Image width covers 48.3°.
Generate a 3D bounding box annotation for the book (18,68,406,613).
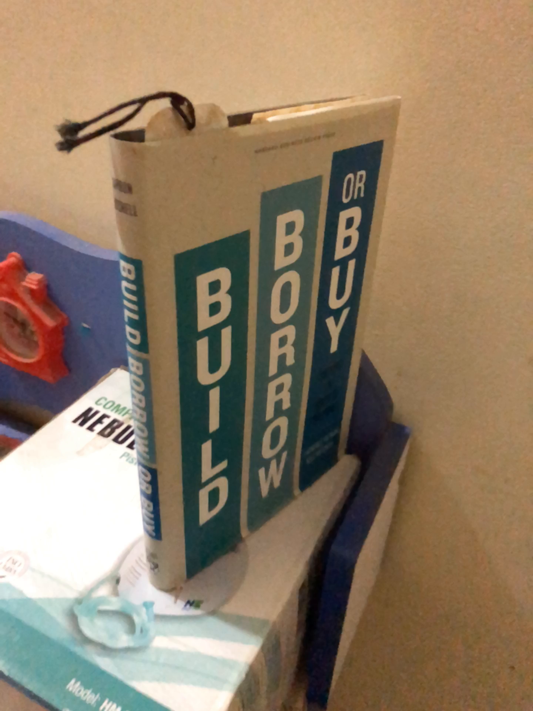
[{"bbox_3d":[-0.010,-0.009,0.311,0.040,0.239,0.181,28,41,35],"label":"book"}]
